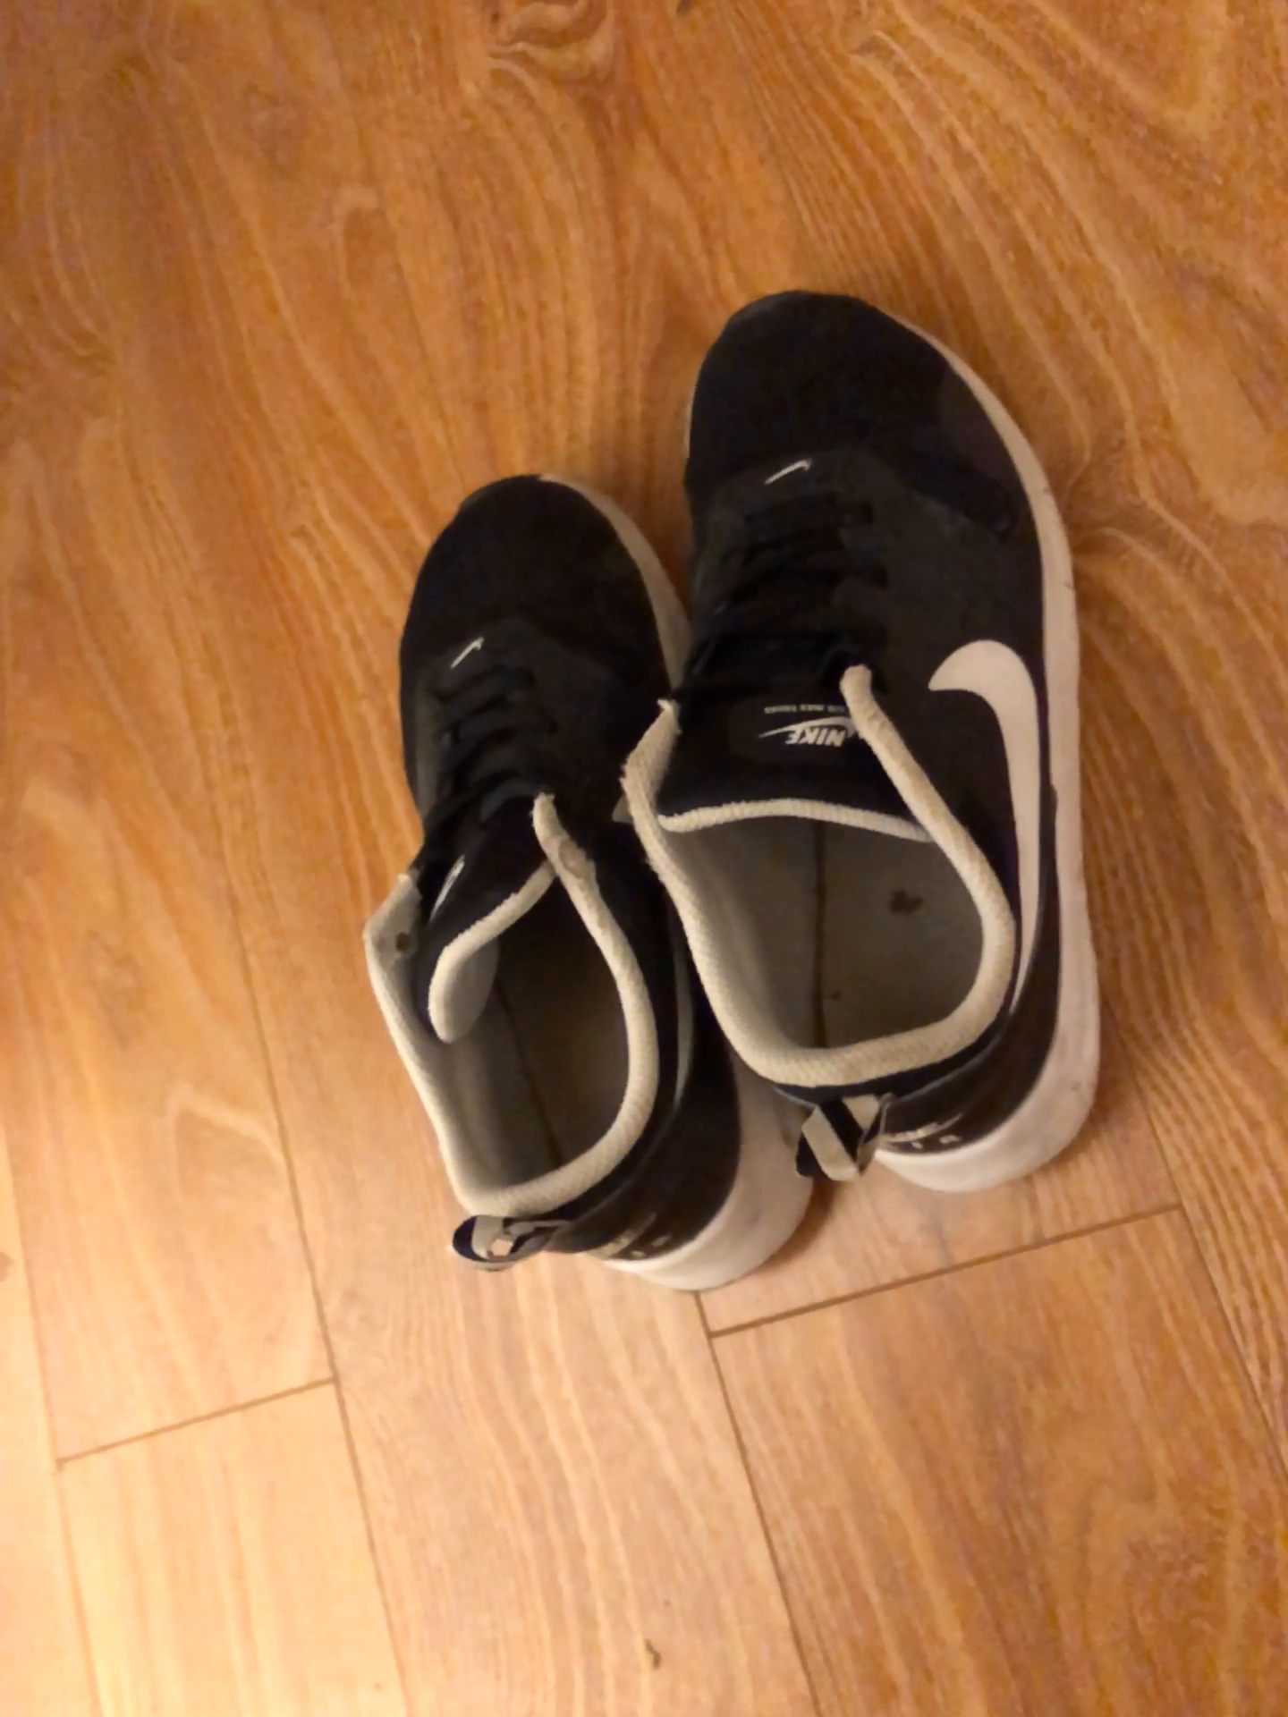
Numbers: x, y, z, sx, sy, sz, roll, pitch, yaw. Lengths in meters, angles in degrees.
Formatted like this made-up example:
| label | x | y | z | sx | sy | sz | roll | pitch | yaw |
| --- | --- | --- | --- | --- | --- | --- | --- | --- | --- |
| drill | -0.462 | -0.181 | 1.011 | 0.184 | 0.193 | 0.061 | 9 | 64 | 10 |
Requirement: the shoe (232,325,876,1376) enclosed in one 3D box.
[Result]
| label | x | y | z | sx | sy | sz | roll | pitch | yaw |
| --- | --- | --- | --- | --- | --- | --- | --- | --- | --- |
| shoe | -0.025 | -0.001 | 0.368 | 0.090 | 0.080 | 0.230 | -20 | 76 | 25 |

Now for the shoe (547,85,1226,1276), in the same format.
| label | x | y | z | sx | sy | sz | roll | pitch | yaw |
| --- | --- | --- | --- | --- | --- | --- | --- | --- | --- |
| shoe | 0.054 | -0.034 | 0.326 | 0.090 | 0.080 | 0.230 | -15 | 78 | 26 |
